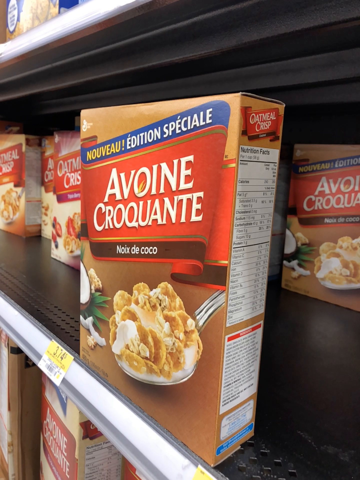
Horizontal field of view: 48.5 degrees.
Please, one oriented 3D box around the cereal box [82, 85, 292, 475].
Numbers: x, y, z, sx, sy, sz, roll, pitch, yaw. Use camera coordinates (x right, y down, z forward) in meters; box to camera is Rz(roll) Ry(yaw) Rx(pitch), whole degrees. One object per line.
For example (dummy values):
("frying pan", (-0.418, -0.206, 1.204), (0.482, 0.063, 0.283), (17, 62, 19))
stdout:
("cereal box", (-0.015, 0.018, 0.355), (0.050, 0.269, 0.200), (-6, 14, -41))
